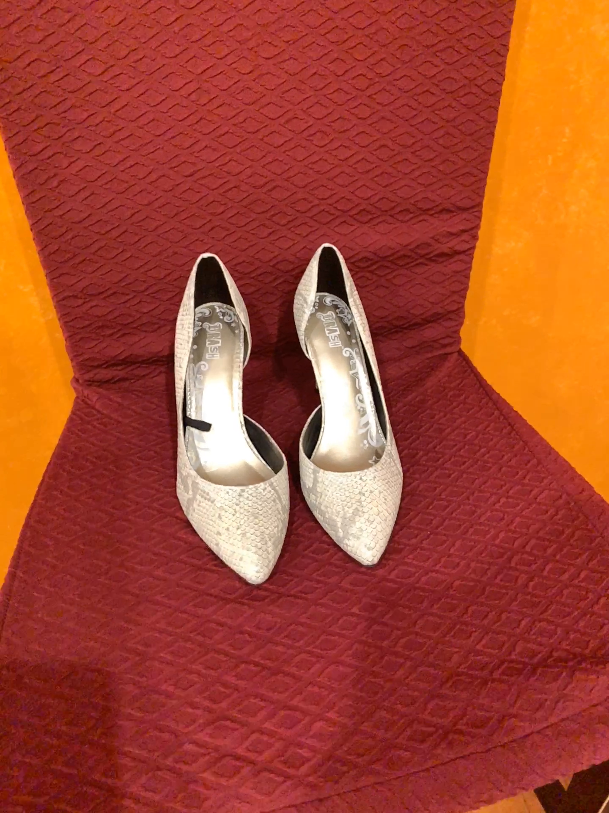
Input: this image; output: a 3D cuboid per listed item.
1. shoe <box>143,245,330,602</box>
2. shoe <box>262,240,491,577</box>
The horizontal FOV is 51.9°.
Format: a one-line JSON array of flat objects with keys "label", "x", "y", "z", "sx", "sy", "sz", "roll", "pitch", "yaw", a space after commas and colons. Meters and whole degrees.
[{"label": "shoe", "x": -0.062, "y": -0.005, "z": 0.470, "sx": 0.090, "sy": 0.119, "sz": 0.253, "roll": -7, "pitch": 42, "yaw": -12}, {"label": "shoe", "x": 0.035, "y": -0.015, "z": 0.491, "sx": 0.090, "sy": 0.120, "sz": 0.249, "roll": -7, "pitch": 42, "yaw": -12}]
